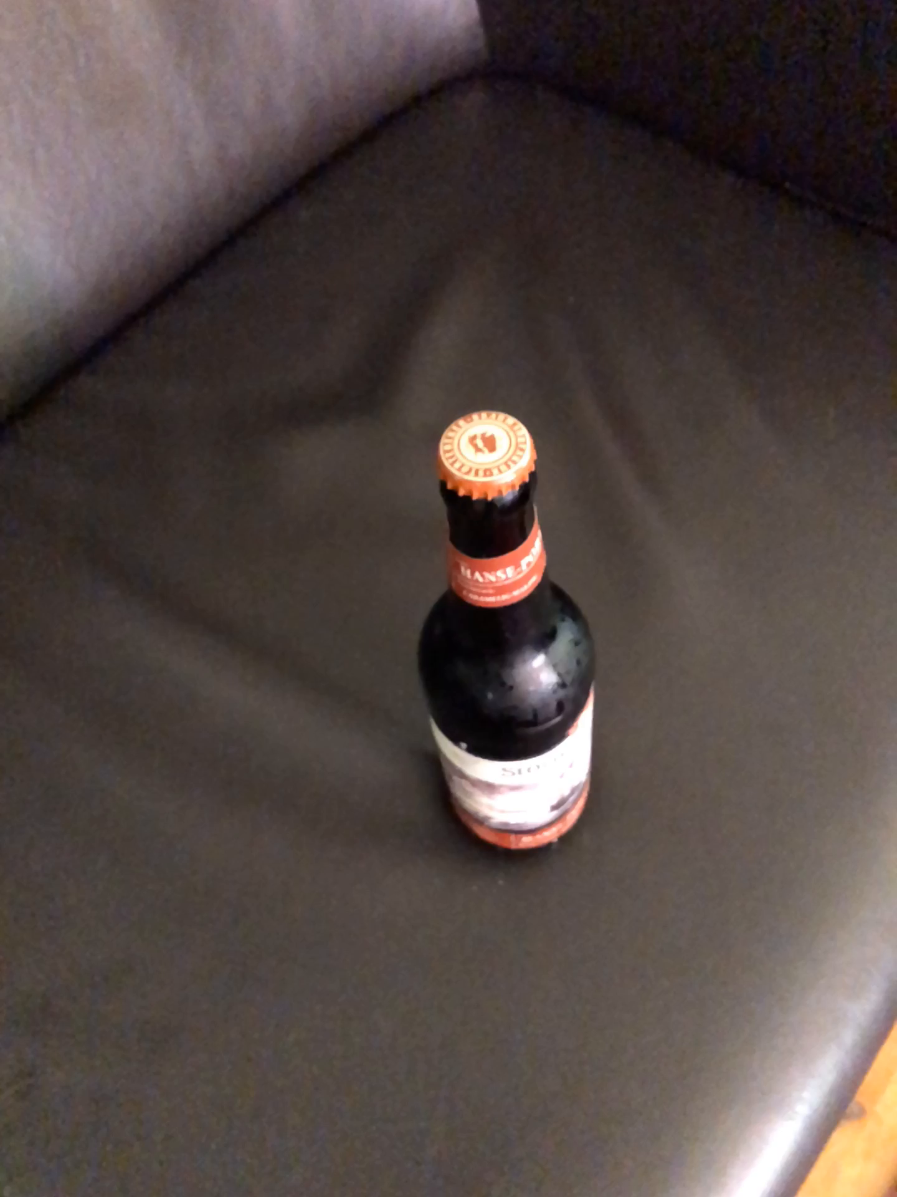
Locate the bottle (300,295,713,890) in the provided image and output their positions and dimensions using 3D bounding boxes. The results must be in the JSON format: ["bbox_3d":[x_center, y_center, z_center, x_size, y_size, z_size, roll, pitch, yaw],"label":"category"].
[{"bbox_3d":[0.023,0.026,0.392,0.080,0.279,0.080,-2,61,3],"label":"bottle"}]
